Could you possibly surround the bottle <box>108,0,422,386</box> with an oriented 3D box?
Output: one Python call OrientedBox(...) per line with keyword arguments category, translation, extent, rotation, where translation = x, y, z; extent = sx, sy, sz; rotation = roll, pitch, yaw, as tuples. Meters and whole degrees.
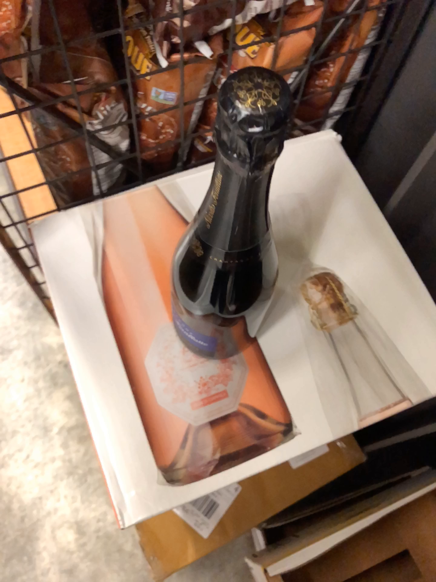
OrientedBox(category="bottle", translation=(0.007, -0.032, 0.337), extent=(0.090, 0.300, 0.100), rotation=(-27, 72, -15))
